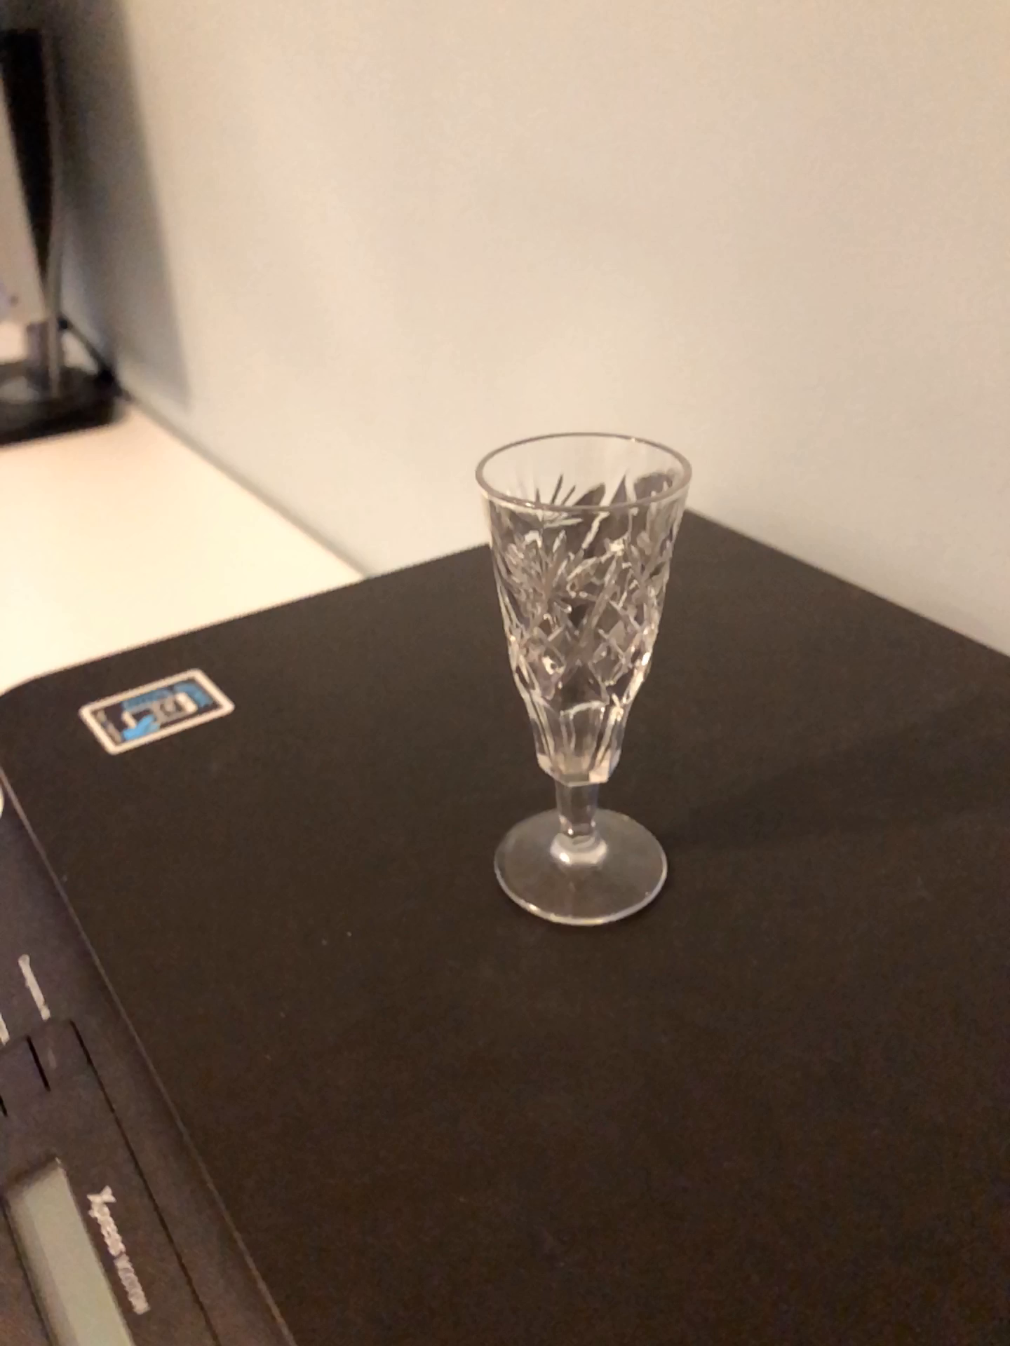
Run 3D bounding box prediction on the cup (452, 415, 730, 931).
[{"bbox_3d":[0.018,0.001,0.270,0.054,0.109,0.057,-1,31,1],"label":"cup"}]
